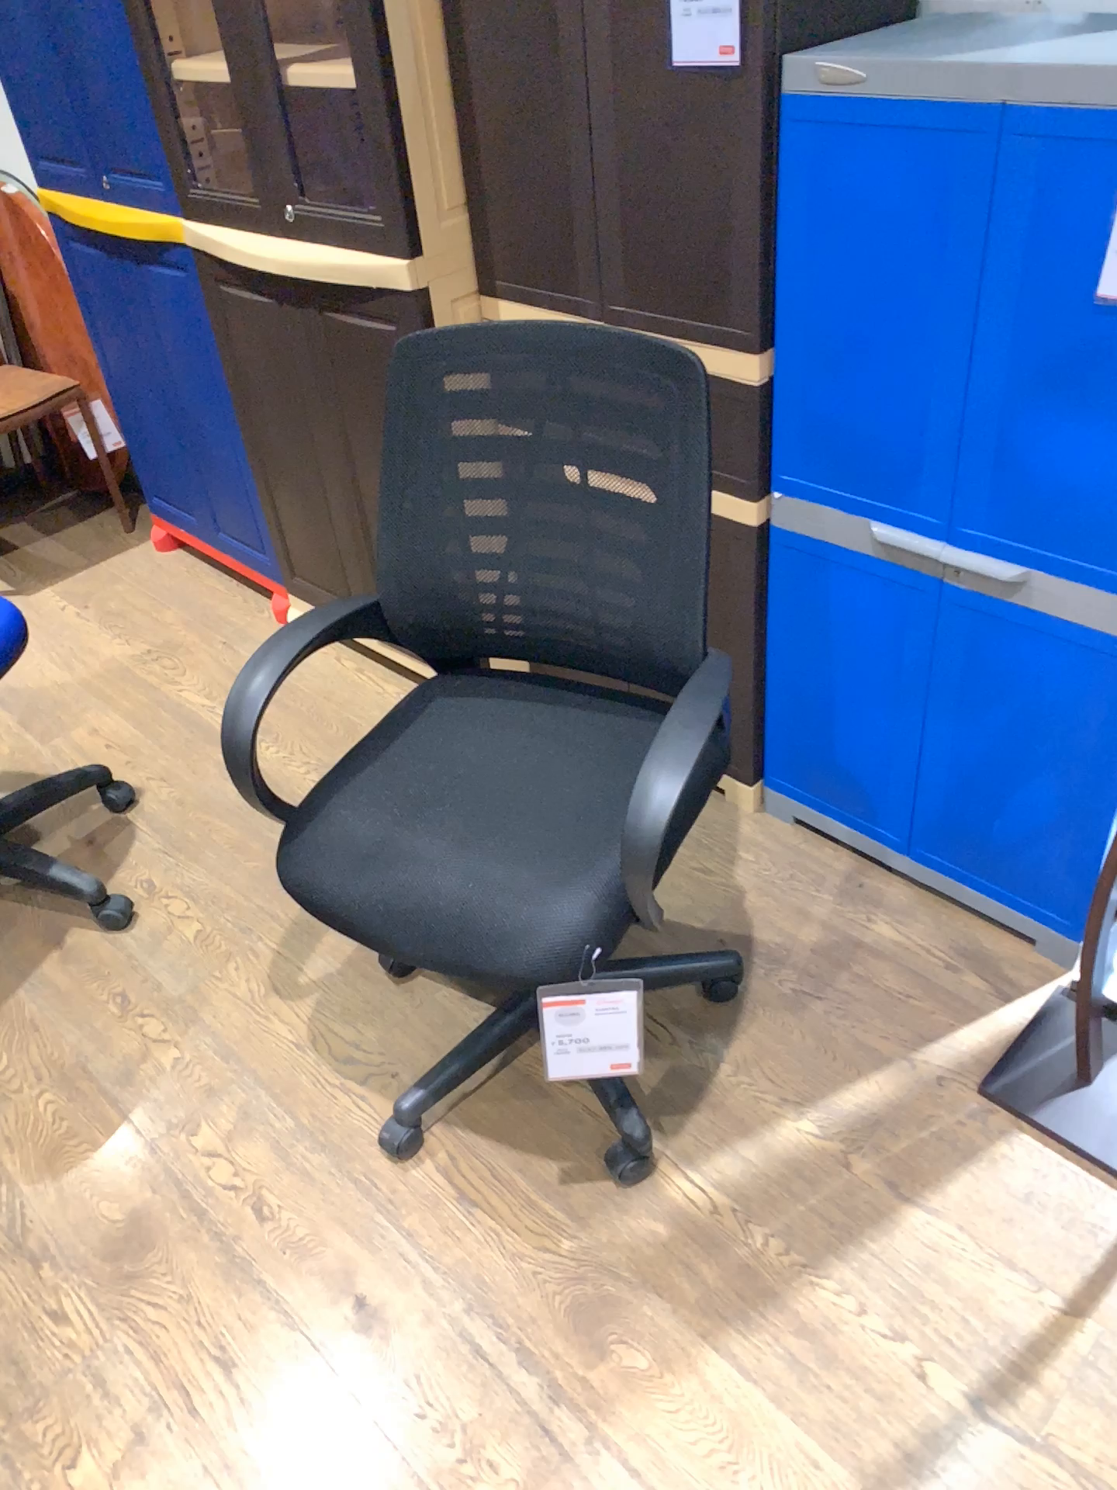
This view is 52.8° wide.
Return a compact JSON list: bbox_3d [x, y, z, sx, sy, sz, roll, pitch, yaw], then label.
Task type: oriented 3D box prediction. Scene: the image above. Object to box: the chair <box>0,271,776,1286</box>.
[{"bbox_3d":[-0.127,0.028,1.403,0.601,0.996,0.602,14,42,25],"label":"chair"}]
